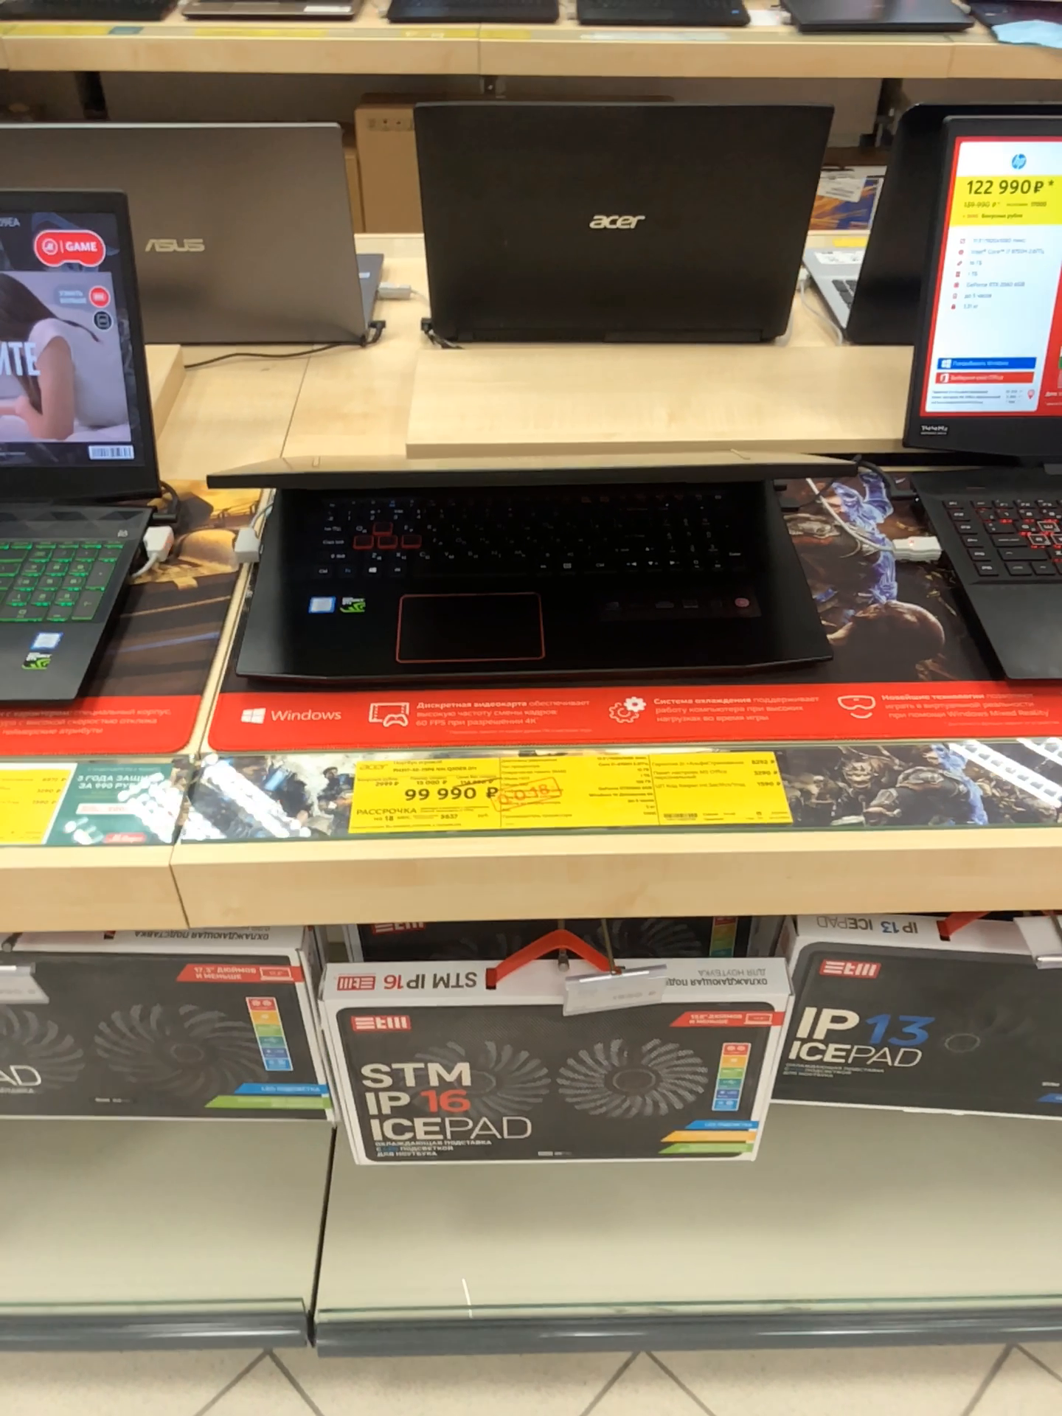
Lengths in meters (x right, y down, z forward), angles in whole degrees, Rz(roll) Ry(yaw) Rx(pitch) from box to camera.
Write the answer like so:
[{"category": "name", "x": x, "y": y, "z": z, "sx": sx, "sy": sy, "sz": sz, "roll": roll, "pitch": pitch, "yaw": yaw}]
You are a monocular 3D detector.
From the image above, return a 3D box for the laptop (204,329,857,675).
[{"category": "laptop", "x": -0.005, "y": -0.166, "z": 0.882, "sx": 0.419, "sy": 0.124, "sz": 0.262, "roll": -2, "pitch": 41, "yaw": -2}]

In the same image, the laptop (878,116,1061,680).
[{"category": "laptop", "x": 0.522, "y": -0.243, "z": 0.863, "sx": 0.377, "sy": 0.250, "sz": 0.357, "roll": -1, "pitch": 43, "yaw": -1}]

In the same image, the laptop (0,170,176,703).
[{"category": "laptop", "x": -0.500, "y": -0.208, "z": 0.844, "sx": 0.350, "sy": 0.230, "sz": 0.344, "roll": 1, "pitch": 41, "yaw": -2}]
